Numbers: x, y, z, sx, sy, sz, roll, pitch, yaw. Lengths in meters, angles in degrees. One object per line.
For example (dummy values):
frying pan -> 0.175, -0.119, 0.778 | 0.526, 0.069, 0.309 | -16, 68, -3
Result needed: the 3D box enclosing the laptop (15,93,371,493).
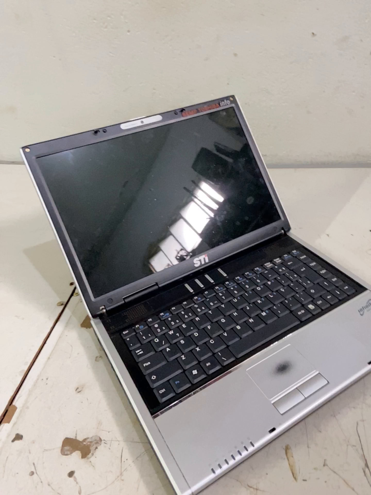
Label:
laptop -> 0.028, -0.019, 0.458 | 0.325, 0.167, 0.387 | -22, 42, -21
